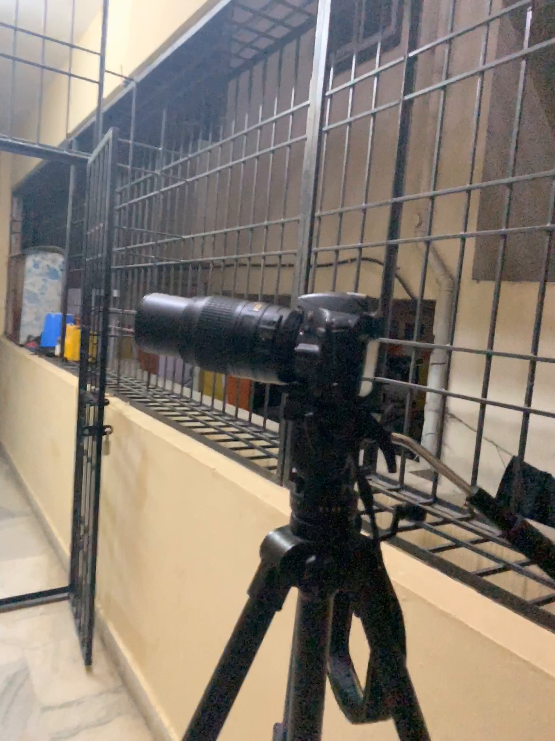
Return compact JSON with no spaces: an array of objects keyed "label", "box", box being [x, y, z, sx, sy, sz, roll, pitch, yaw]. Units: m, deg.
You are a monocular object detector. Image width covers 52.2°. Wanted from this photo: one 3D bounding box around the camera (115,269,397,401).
[{"label":"camera","box":[-0.015,-0.037,0.529,0.230,0.090,0.120,6,6,17]}]
